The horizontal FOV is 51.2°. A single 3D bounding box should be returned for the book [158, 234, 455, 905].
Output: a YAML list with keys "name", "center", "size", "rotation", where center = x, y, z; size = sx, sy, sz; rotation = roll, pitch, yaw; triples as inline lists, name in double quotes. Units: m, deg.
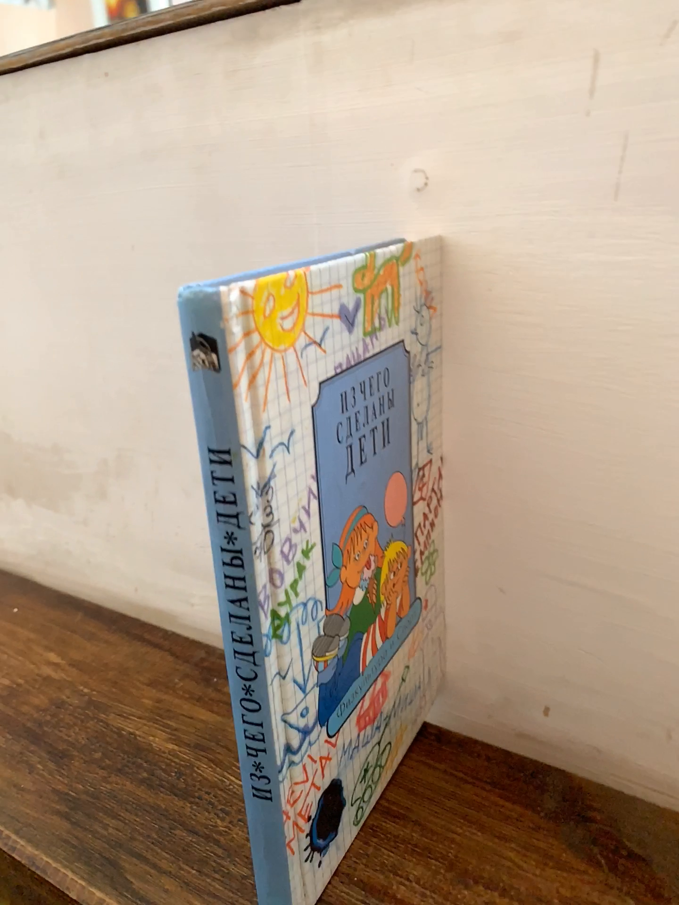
- name: "book"
  center: [0.006, 0.033, 0.240]
  size: [0.020, 0.195, 0.131]
  rotation: [7, 22, 28]
